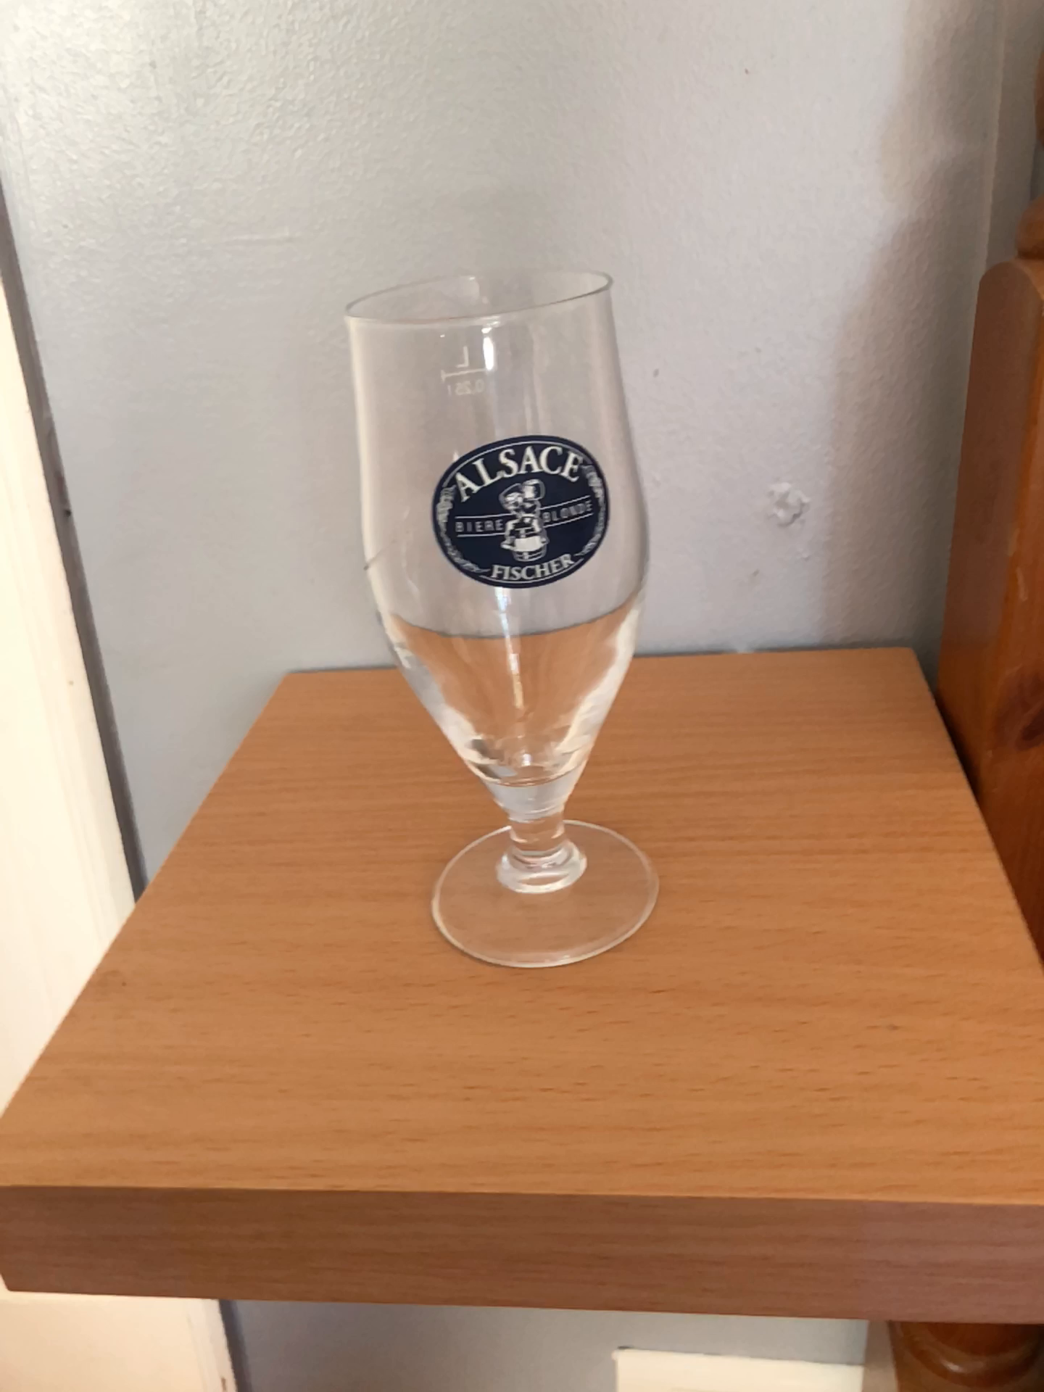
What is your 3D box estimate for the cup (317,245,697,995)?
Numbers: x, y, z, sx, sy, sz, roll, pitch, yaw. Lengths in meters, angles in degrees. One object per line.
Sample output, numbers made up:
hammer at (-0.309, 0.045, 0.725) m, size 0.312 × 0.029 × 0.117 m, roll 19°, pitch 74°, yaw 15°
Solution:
cup at (-0.002, -0.018, 0.292) m, size 0.068 × 0.166 × 0.068 m, roll -6°, pitch 26°, yaw 3°
